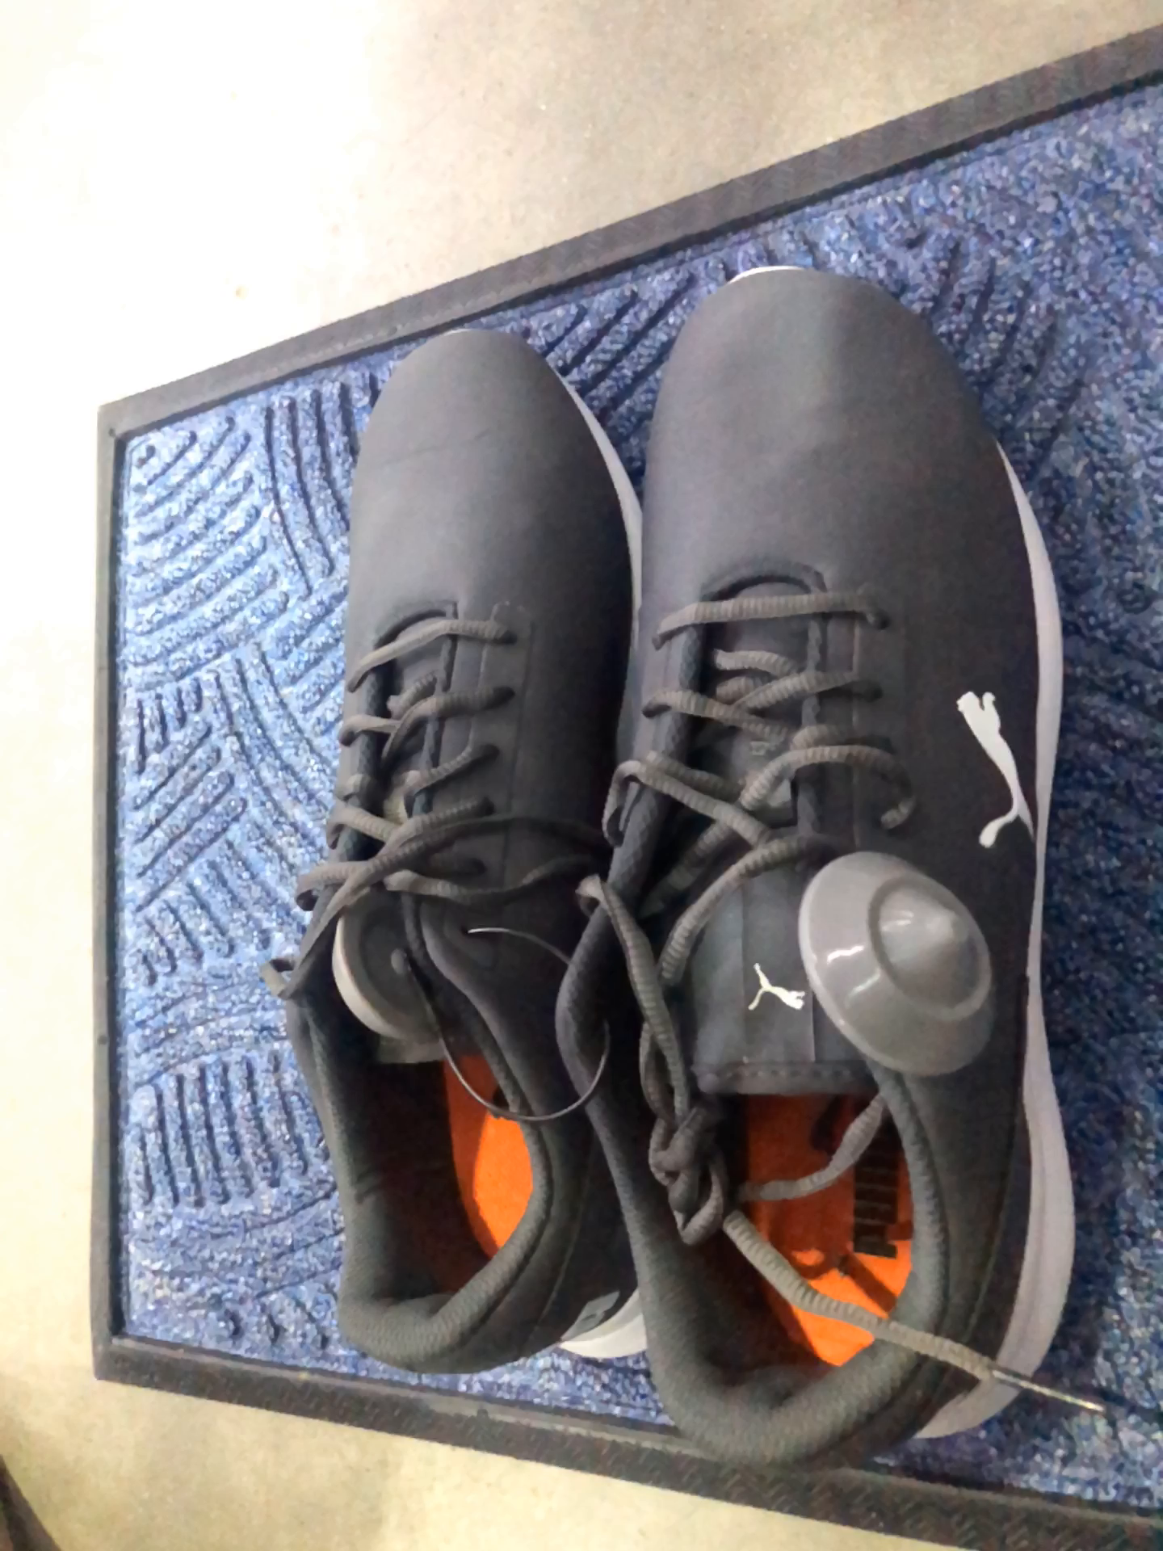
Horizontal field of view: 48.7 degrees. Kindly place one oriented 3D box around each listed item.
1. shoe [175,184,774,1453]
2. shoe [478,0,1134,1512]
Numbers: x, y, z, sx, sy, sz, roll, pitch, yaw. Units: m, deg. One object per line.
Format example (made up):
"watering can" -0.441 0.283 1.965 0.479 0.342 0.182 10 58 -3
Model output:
"shoe" -0.032 0.011 0.371 0.110 0.100 0.300 -11 80 30
"shoe" 0.054 -0.007 0.317 0.100 0.100 0.300 -9 81 30
